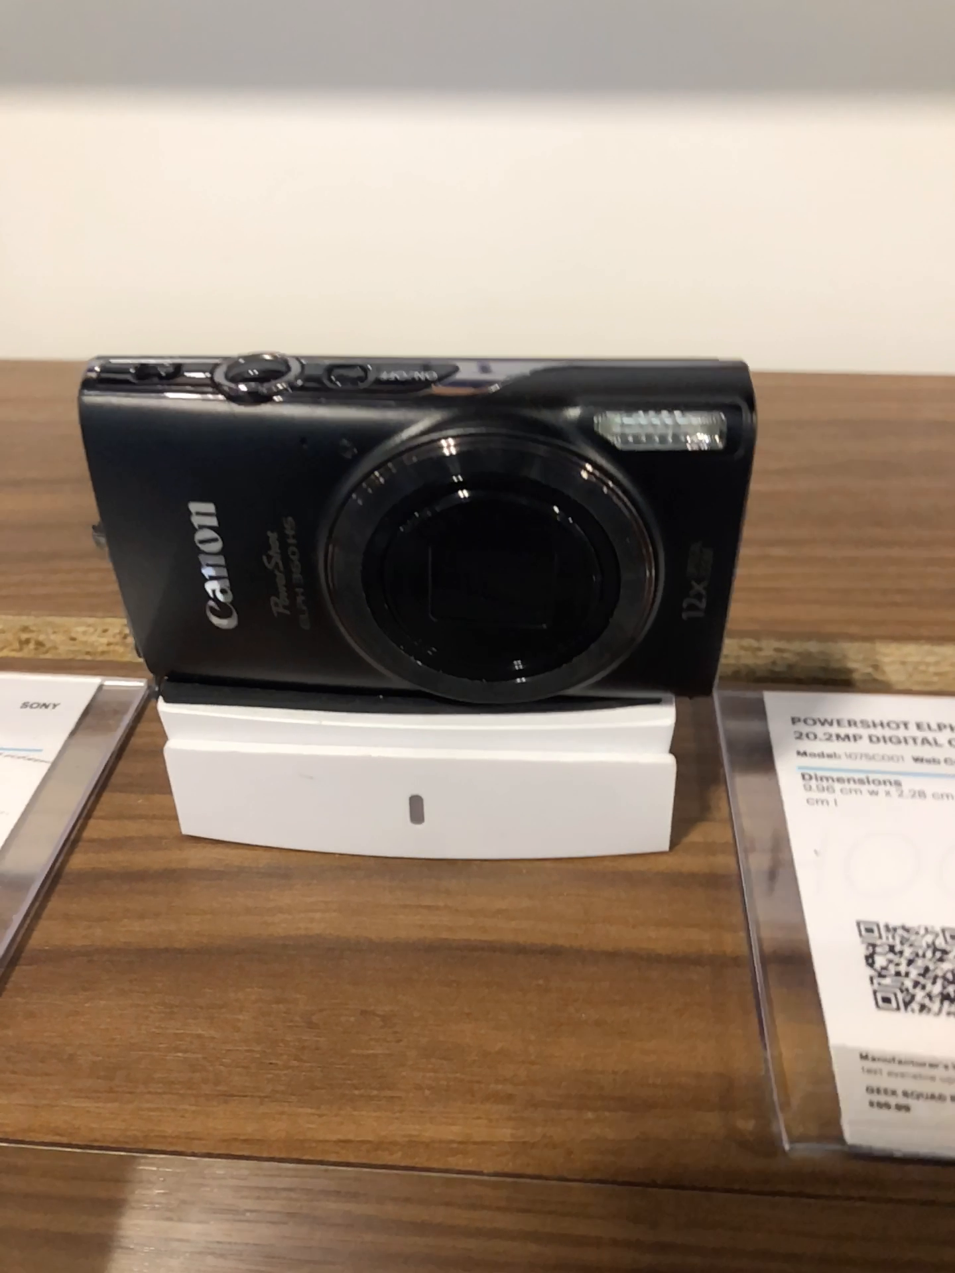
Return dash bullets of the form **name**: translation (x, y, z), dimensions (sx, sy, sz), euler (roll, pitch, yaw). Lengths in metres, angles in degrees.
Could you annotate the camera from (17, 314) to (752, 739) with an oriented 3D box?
- **camera**: translation (-0.012, -0.018, 0.173), dimensions (0.100, 0.060, 0.030), euler (1, 34, 4)
